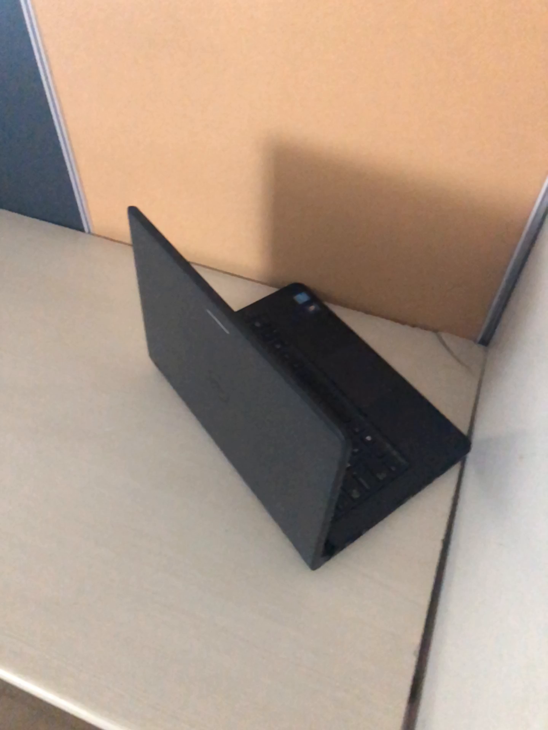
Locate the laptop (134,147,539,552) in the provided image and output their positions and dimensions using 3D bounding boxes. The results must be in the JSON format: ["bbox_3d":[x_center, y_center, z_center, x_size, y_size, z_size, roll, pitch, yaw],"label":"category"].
[{"bbox_3d":[0.043,-0.027,0.622,0.214,0.211,0.305,-29,58,-22],"label":"laptop"}]
